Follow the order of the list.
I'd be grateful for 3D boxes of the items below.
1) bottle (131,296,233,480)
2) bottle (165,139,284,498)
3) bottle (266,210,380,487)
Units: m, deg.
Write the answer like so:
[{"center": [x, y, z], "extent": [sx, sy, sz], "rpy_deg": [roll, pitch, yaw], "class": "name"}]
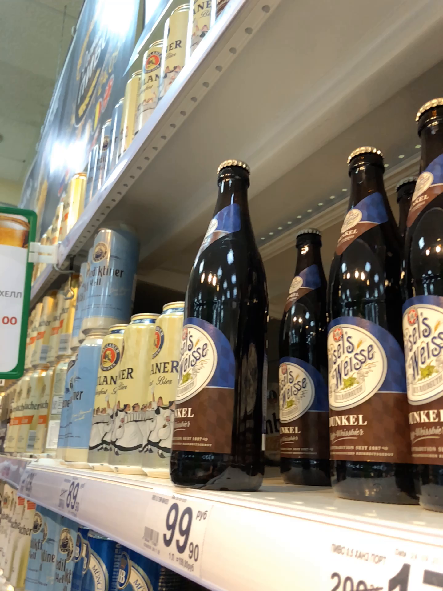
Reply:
[{"center": [-0.039, 0.095, 0.500], "extent": [0.068, 0.168, 0.069], "rpy_deg": [2, -18, 1], "class": "bottle"}, {"center": [0.005, 0.014, 0.387], "extent": [0.066, 0.264, 0.065], "rpy_deg": [2, -18, 1], "class": "bottle"}, {"center": [0.099, 0.052, 0.504], "extent": [0.082, 0.264, 0.070], "rpy_deg": [8, -19, -16], "class": "bottle"}]
